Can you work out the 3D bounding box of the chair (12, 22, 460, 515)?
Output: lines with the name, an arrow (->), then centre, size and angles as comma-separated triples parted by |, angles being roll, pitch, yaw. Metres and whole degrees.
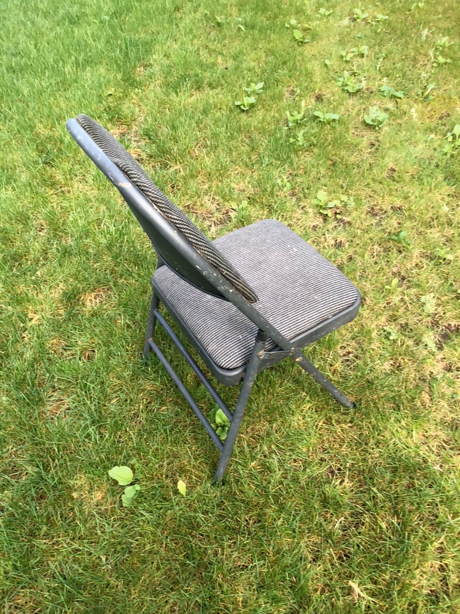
chair -> -0.002, -0.070, 1.138 | 0.571, 0.815, 0.533 | -24, 49, -18
